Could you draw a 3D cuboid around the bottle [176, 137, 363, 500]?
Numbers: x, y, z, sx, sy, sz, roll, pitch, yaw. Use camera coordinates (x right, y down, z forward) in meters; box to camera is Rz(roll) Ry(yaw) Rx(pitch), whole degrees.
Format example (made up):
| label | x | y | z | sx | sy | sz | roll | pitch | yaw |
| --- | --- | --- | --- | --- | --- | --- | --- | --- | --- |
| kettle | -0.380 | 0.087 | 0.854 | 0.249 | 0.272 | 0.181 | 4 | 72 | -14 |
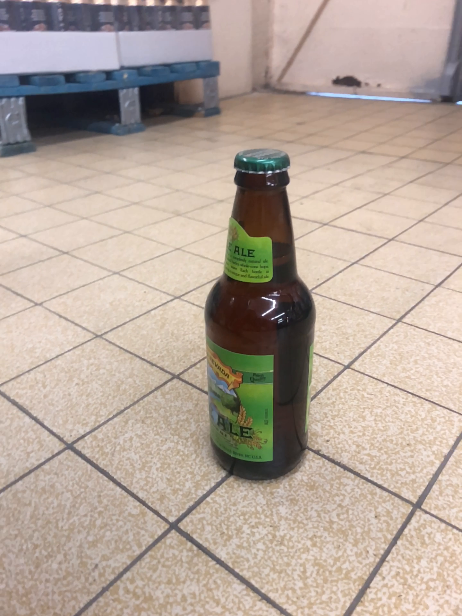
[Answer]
| label | x | y | z | sx | sy | sz | roll | pitch | yaw |
| --- | --- | --- | --- | --- | --- | --- | --- | --- | --- |
| bottle | 0.018 | 0.008 | 0.293 | 0.070 | 0.189 | 0.060 | -15 | 31 | -27 |
